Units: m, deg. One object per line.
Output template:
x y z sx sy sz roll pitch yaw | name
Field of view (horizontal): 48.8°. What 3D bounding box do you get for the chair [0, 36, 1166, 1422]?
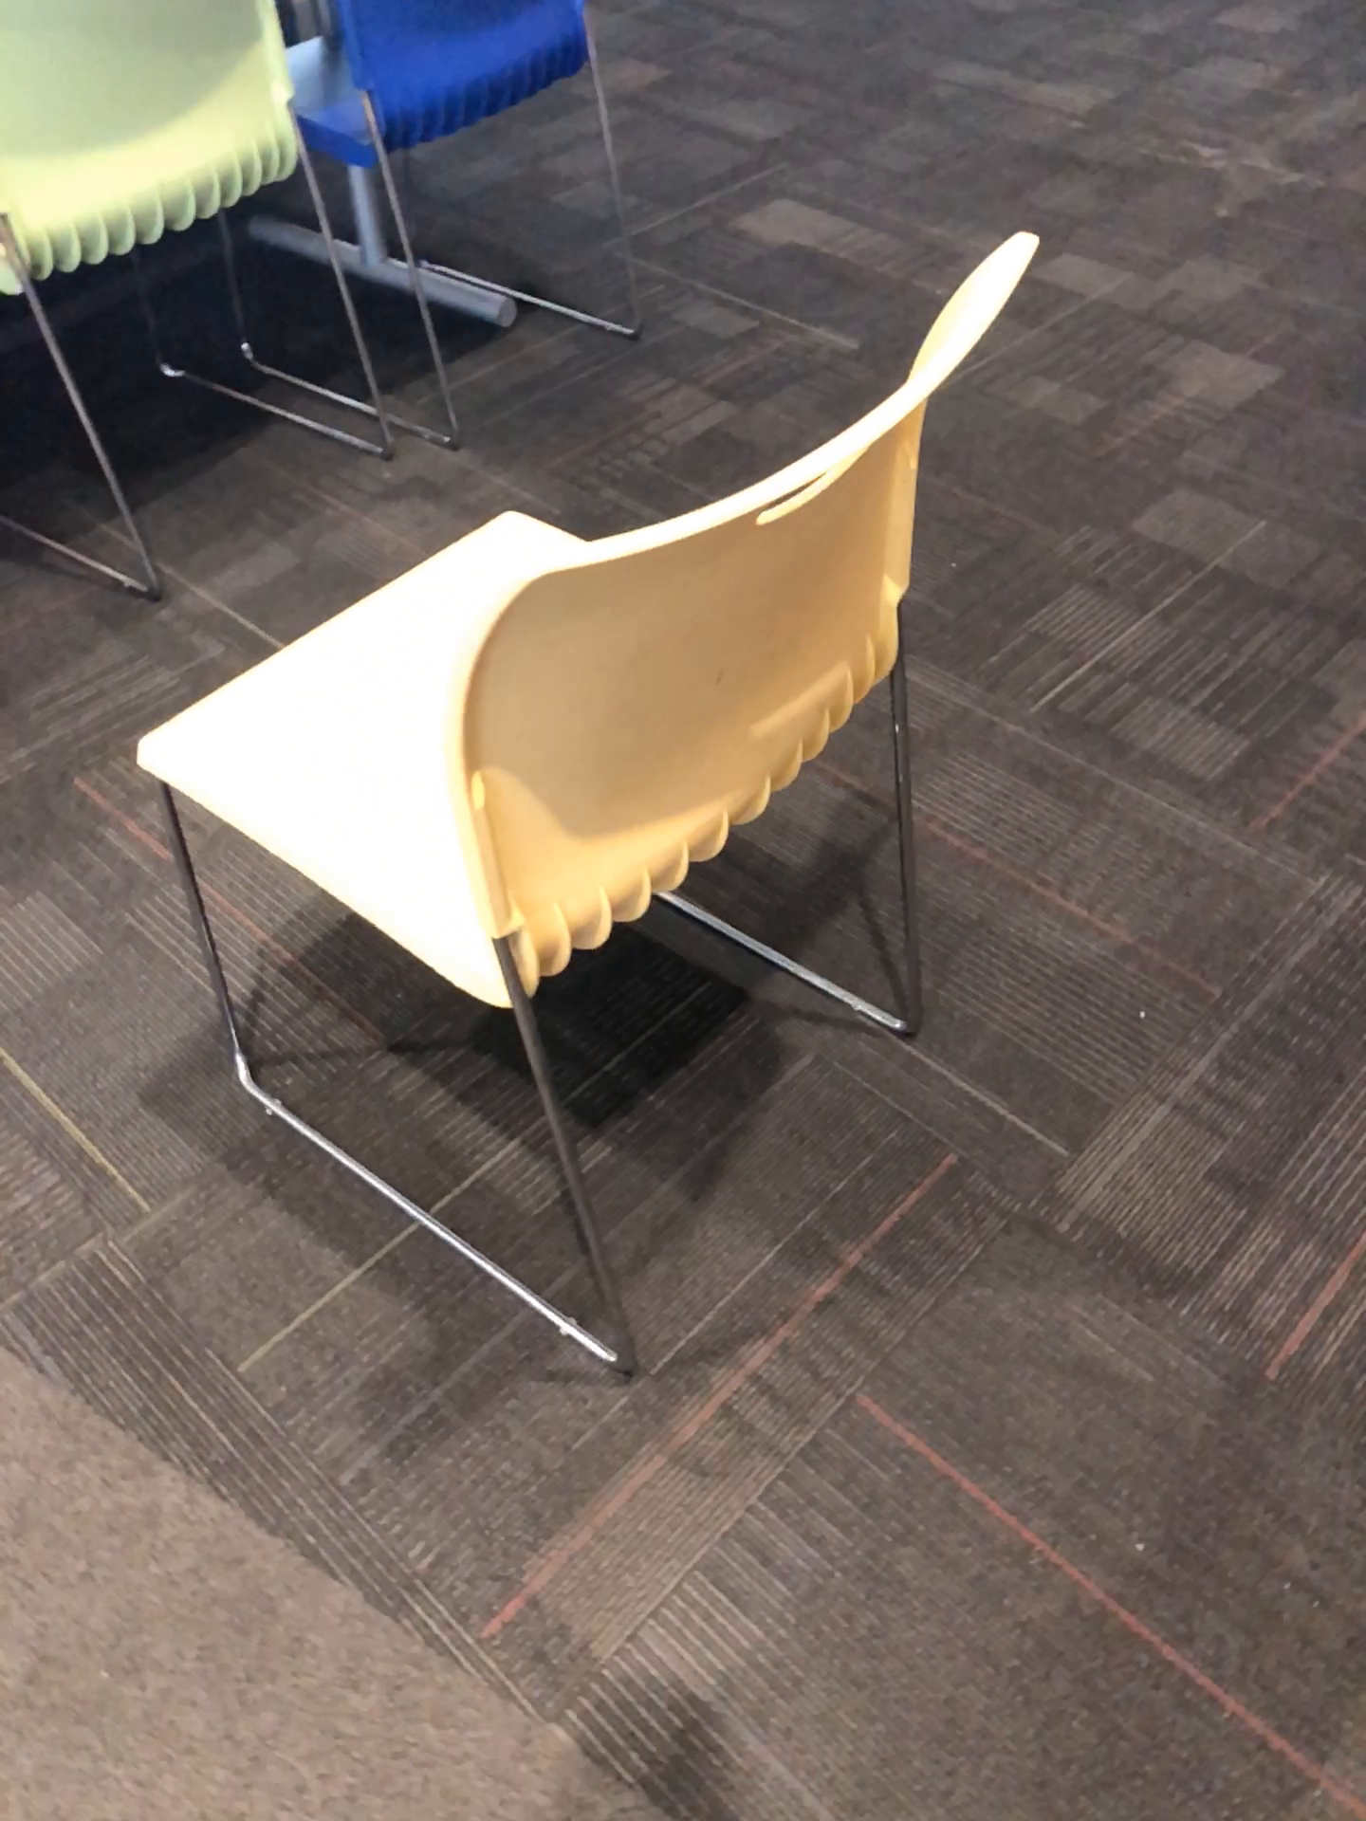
-0.089 -0.150 1.173 0.561 0.737 0.571 29 53 27 | chair
